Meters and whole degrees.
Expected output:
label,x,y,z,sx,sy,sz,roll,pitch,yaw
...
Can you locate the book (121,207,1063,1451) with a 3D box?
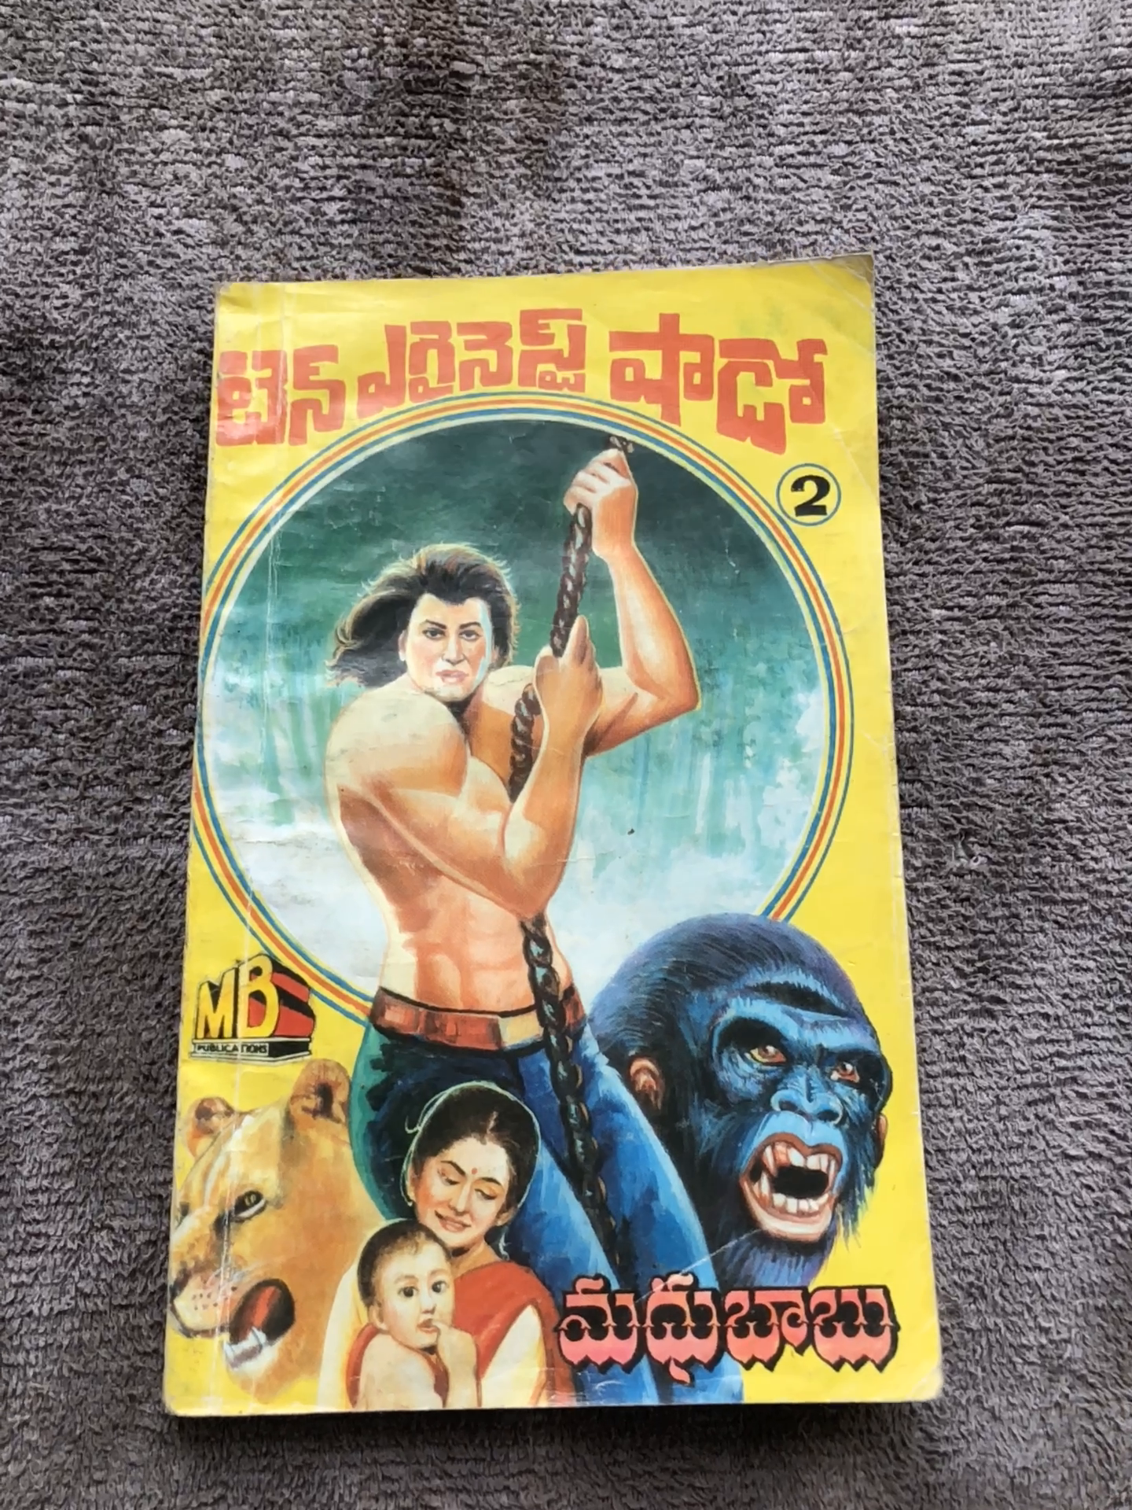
label,x,y,z,sx,sy,sz,roll,pitch,yaw
book,0.002,0.002,0.175,0.110,0.020,0.160,-1,78,-3
